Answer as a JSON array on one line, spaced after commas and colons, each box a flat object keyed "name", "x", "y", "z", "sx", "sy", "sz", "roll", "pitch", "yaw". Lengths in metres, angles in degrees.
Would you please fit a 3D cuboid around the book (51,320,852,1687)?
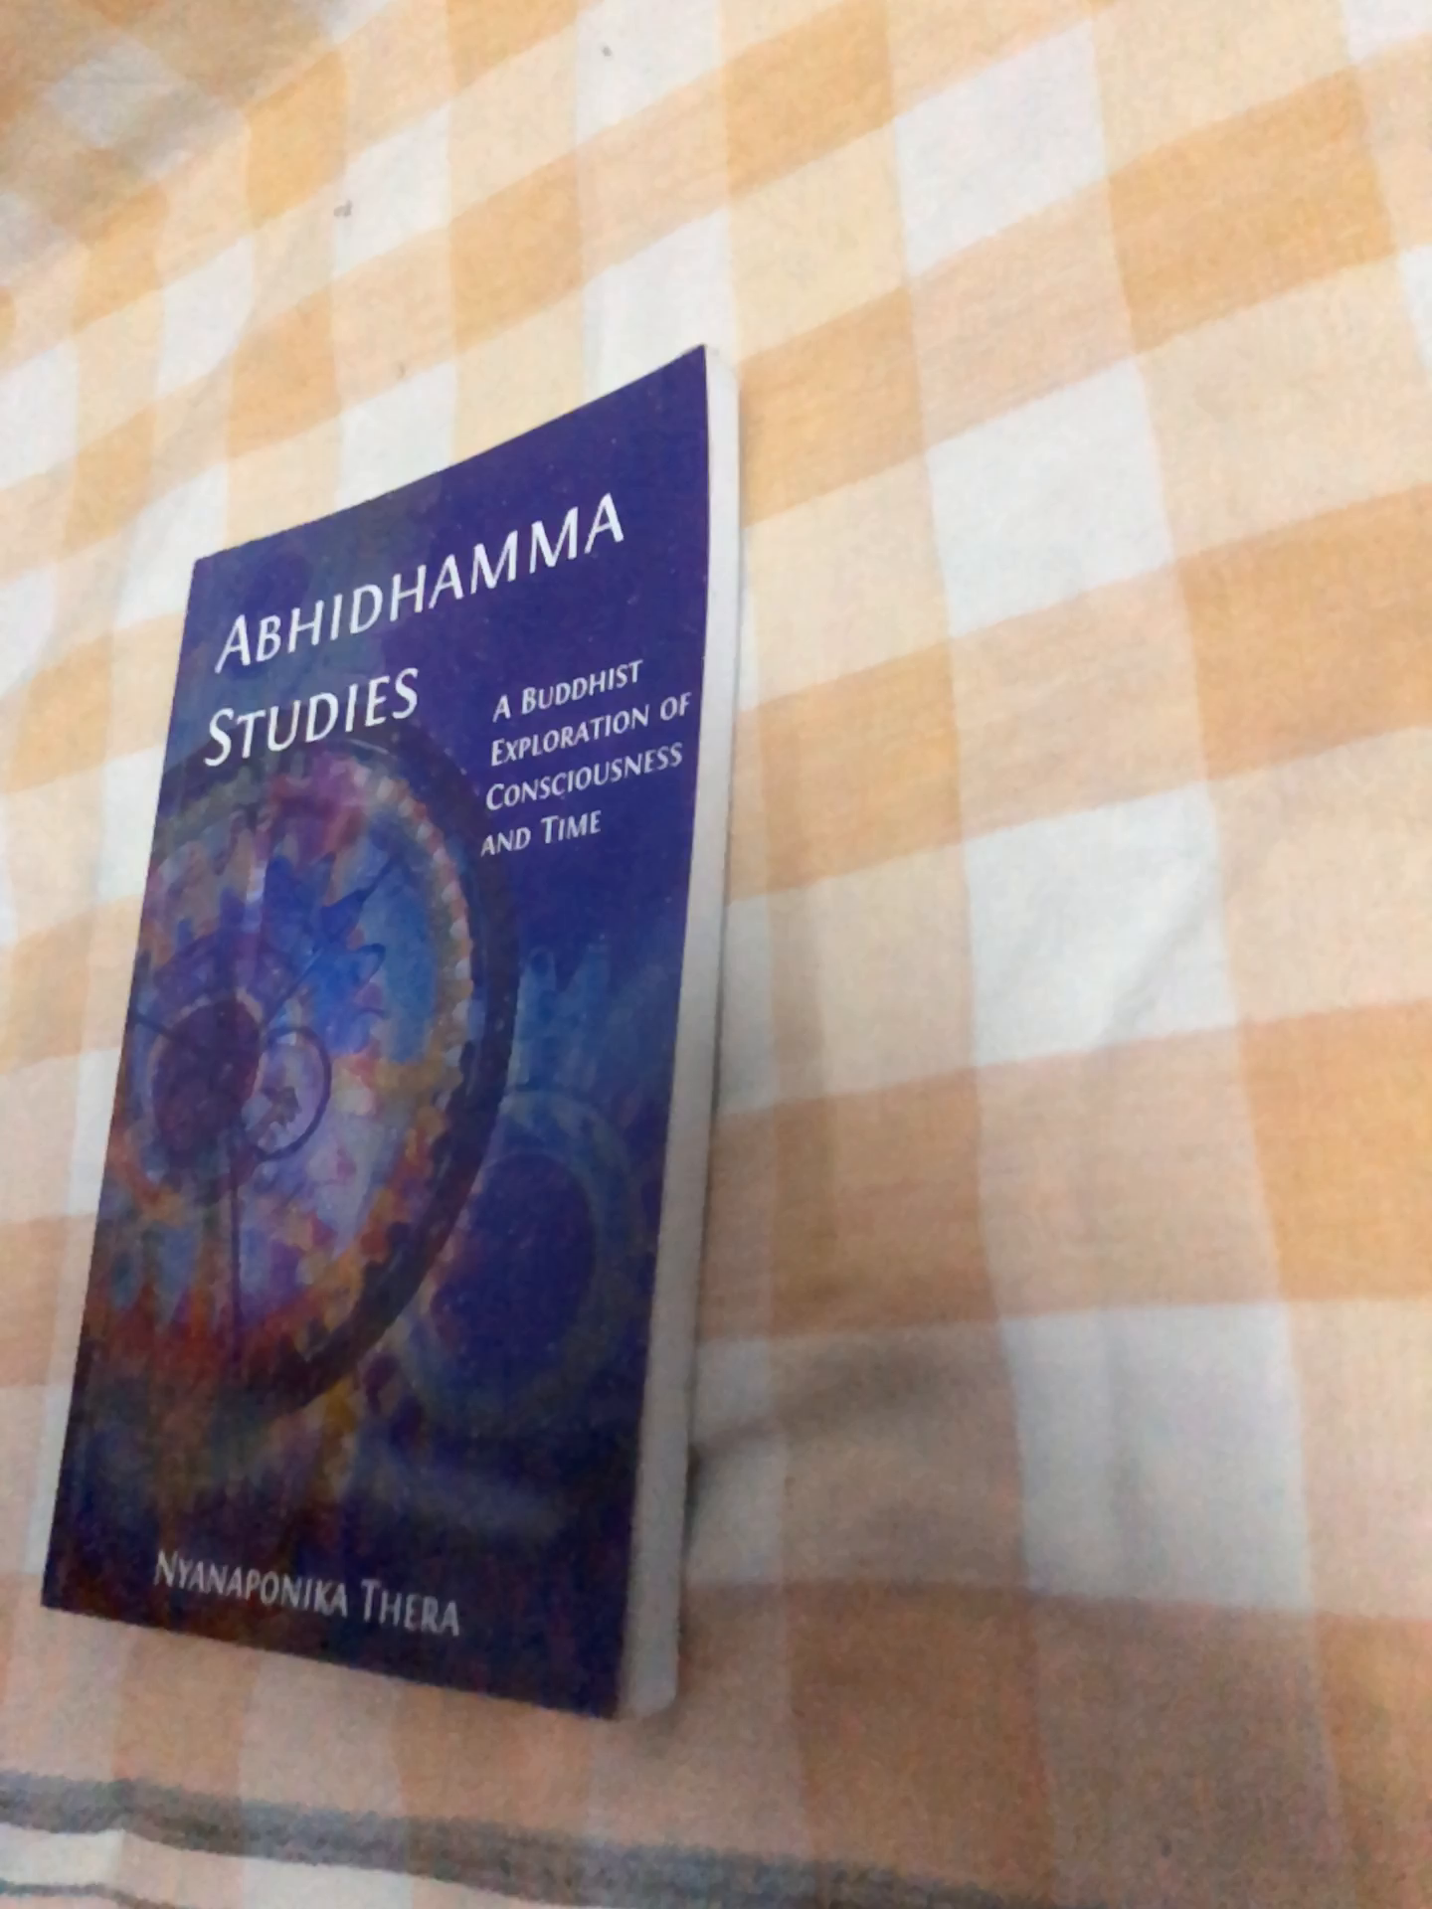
[{"name": "book", "x": -0.049, "y": 0.006, "z": 0.285, "sx": 0.150, "sy": 0.020, "sz": 0.210, "roll": -8, "pitch": 71, "yaw": 33}]
